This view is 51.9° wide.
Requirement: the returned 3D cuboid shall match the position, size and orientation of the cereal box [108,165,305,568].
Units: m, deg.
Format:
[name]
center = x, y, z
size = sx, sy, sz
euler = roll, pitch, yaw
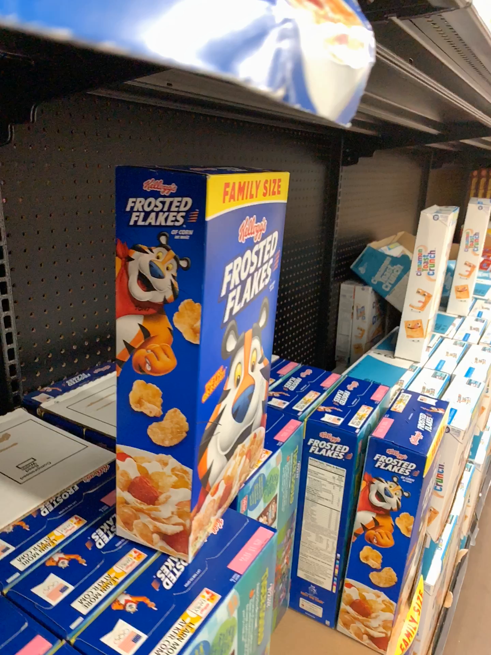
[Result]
[cereal box]
center = -0.031, 0.016, 0.483
size = 0.080, 0.319, 0.211
euler = 12, 20, 21
